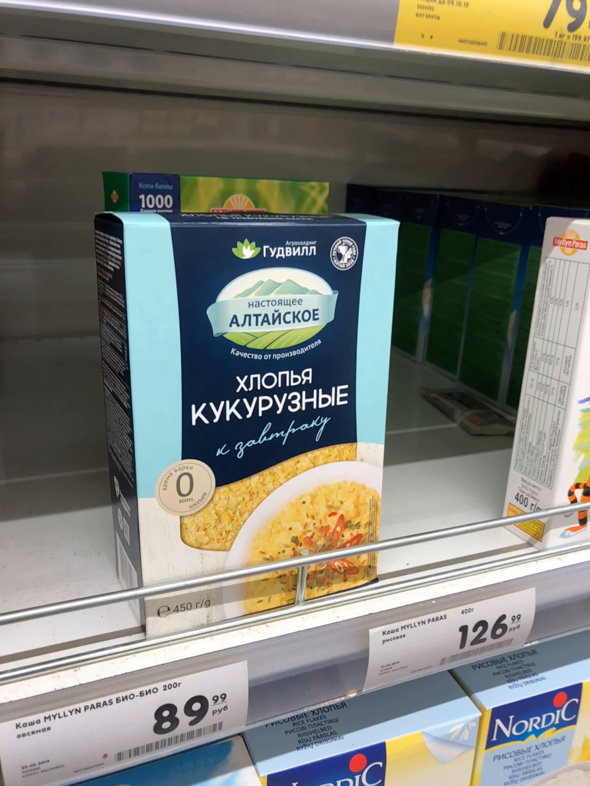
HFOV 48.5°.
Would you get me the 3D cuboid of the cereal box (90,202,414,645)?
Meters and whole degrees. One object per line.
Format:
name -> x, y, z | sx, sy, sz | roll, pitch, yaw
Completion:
cereal box -> -0.022, 0.008, 0.319 | 0.130, 0.189, 0.060 | -6, 20, -24
